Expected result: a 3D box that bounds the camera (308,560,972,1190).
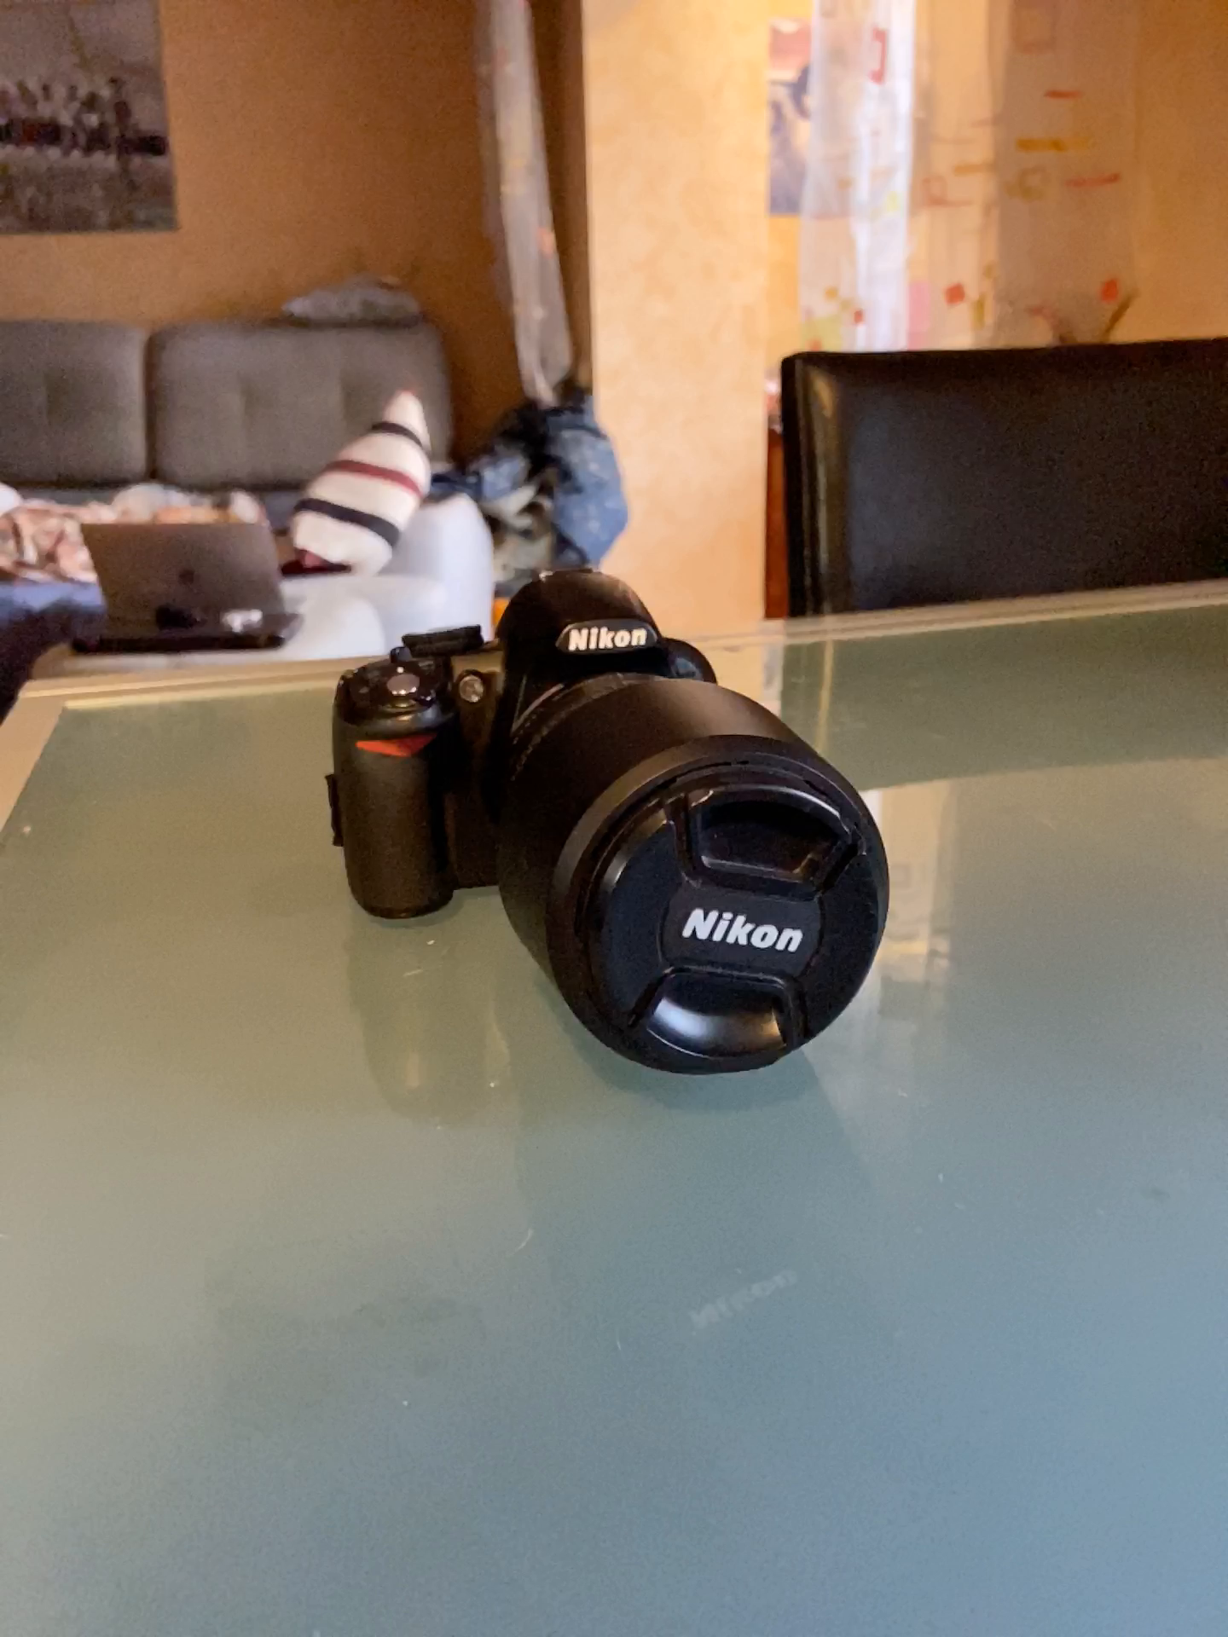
[{"bbox_3d":[-0.011,-0.006,0.340,0.124,0.094,0.189,-6,20,-13],"label":"camera"}]
